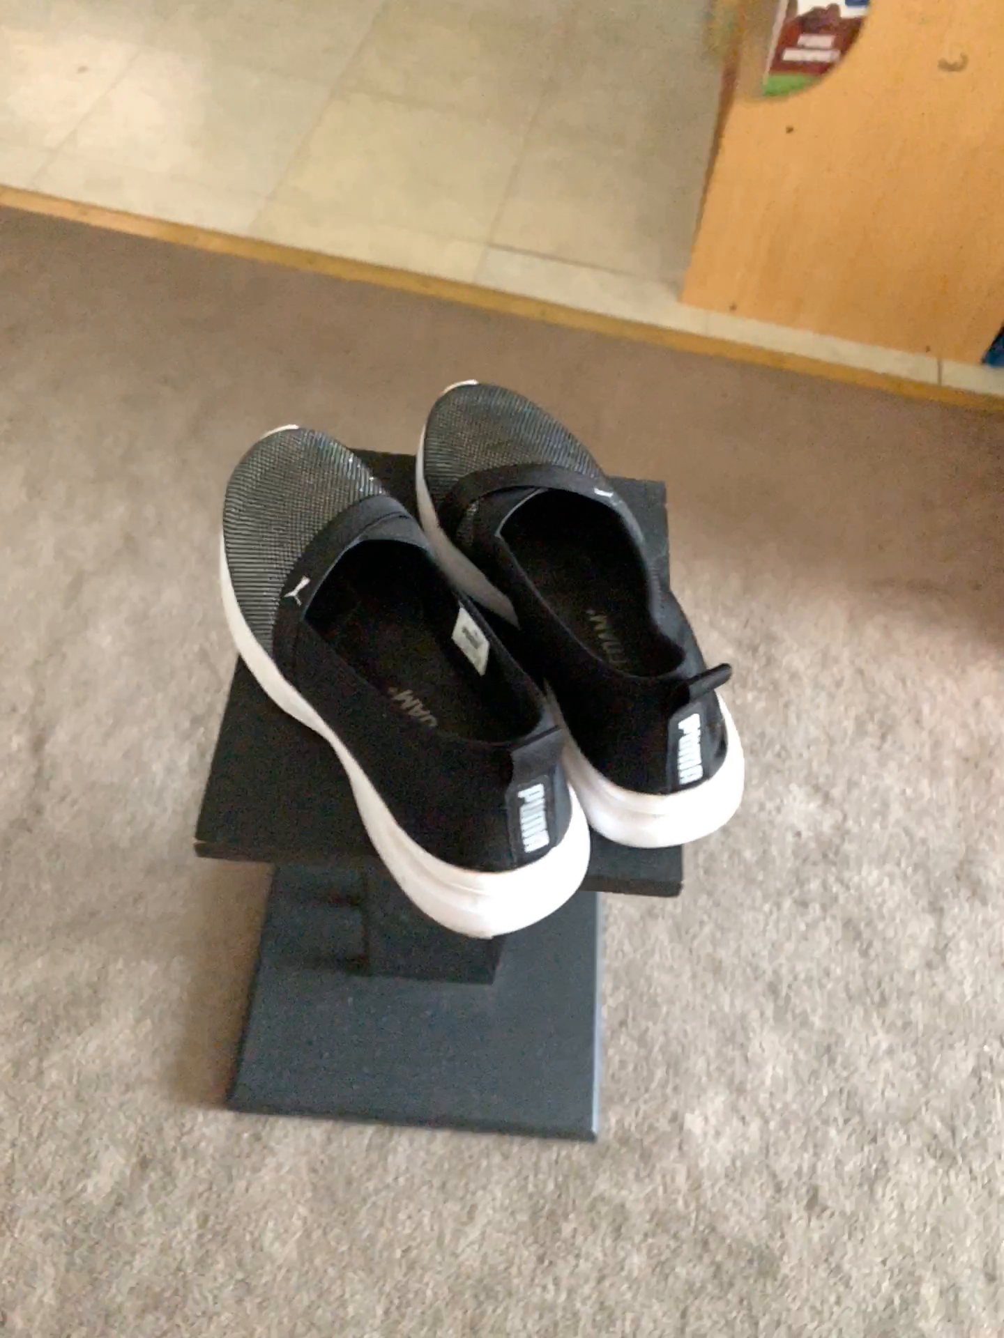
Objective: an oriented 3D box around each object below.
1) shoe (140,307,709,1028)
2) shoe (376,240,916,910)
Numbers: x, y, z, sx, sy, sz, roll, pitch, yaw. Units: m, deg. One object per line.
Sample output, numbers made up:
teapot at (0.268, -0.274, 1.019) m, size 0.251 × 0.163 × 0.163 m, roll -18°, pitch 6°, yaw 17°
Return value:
shoe at (-0.043, -0.012, 0.412) m, size 0.100 × 0.099 × 0.257 m, roll -22°, pitch 62°, yaw -19°
shoe at (0.038, -0.051, 0.439) m, size 0.100 × 0.099 × 0.261 m, roll -17°, pitch 61°, yaw -16°
